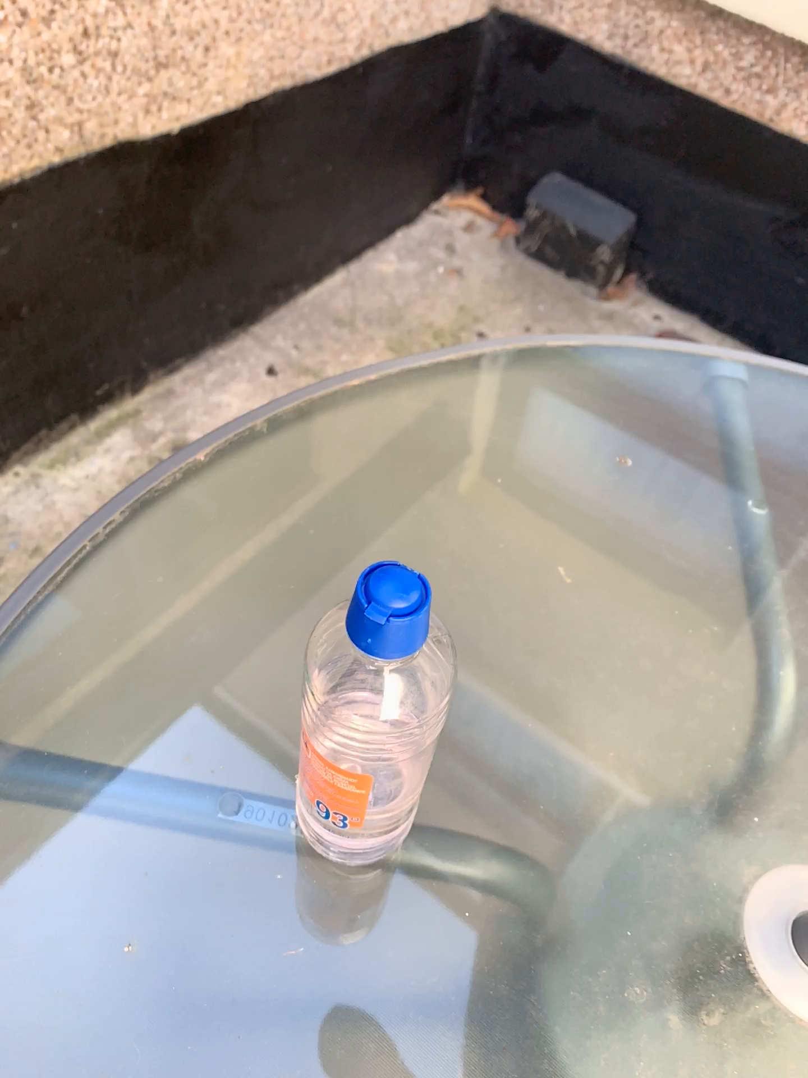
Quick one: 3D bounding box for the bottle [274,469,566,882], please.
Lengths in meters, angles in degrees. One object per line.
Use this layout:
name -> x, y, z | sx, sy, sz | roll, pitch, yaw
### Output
bottle -> -0.006, 0.056, 0.290 | 0.060, 0.158, 0.060 | 5, 51, -6
